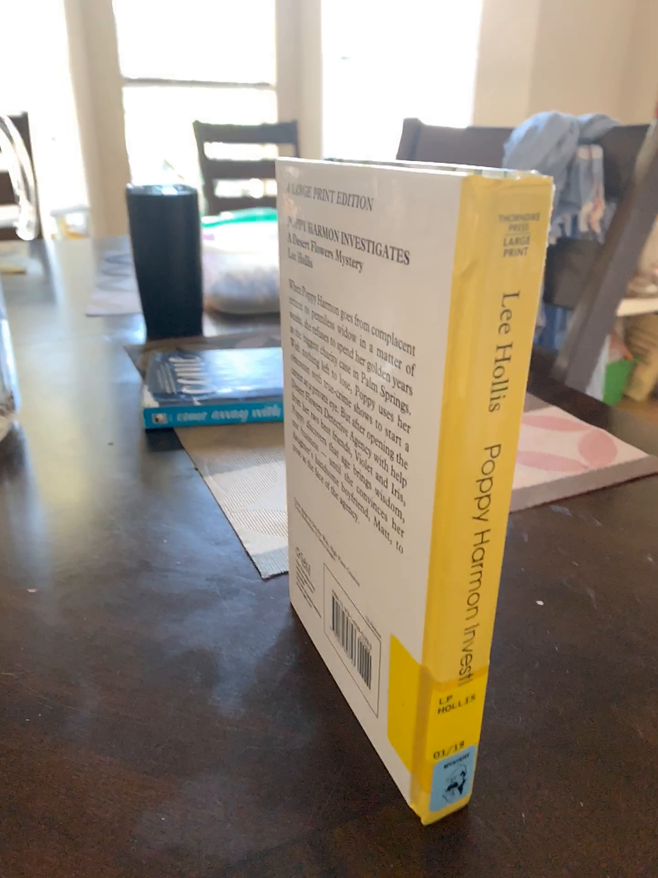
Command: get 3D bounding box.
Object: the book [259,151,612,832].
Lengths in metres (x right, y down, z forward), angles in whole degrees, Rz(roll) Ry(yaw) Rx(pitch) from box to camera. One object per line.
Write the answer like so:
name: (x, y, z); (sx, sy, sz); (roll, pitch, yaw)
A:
book: (0.021, 0.008, 0.269); (0.040, 0.219, 0.154); (-11, 27, -21)
